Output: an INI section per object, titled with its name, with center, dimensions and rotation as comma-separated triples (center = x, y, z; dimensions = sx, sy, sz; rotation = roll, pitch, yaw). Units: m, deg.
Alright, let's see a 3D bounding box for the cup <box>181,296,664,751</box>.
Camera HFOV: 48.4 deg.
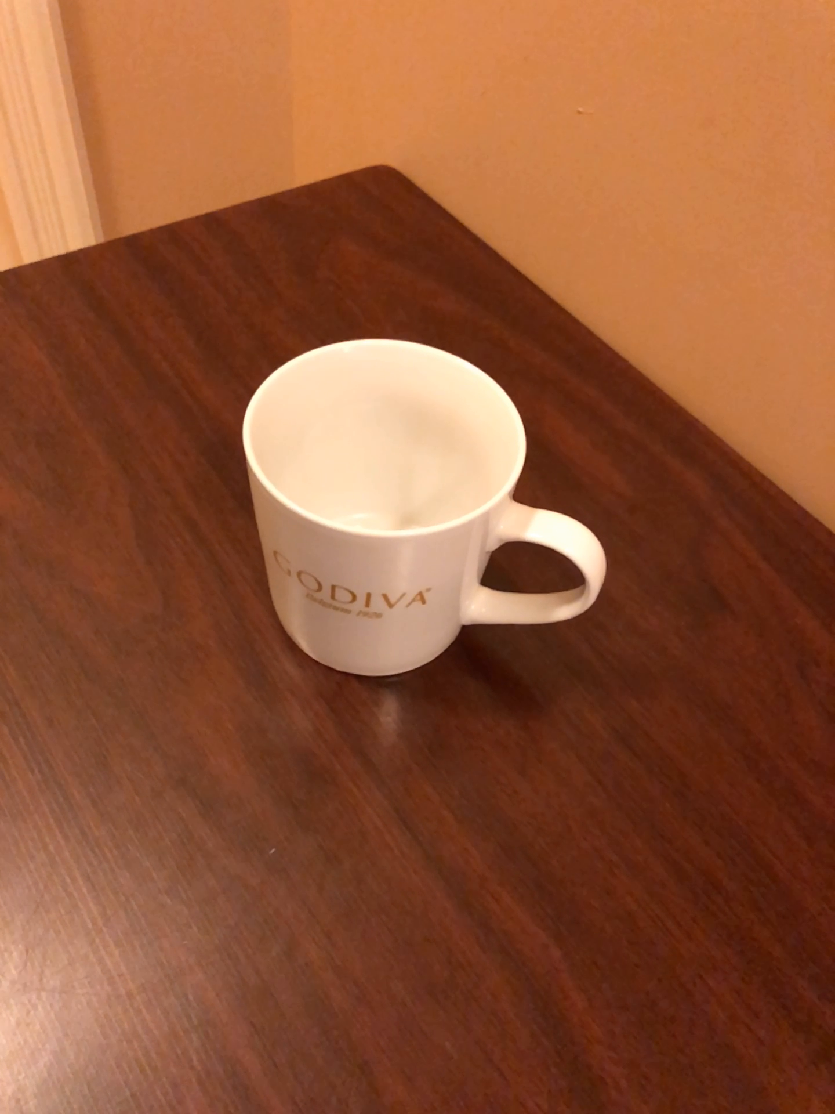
[cup]
center = 0.005, -0.014, 0.368
dimensions = 0.150, 0.100, 0.110
rotation = 14, 51, 5
